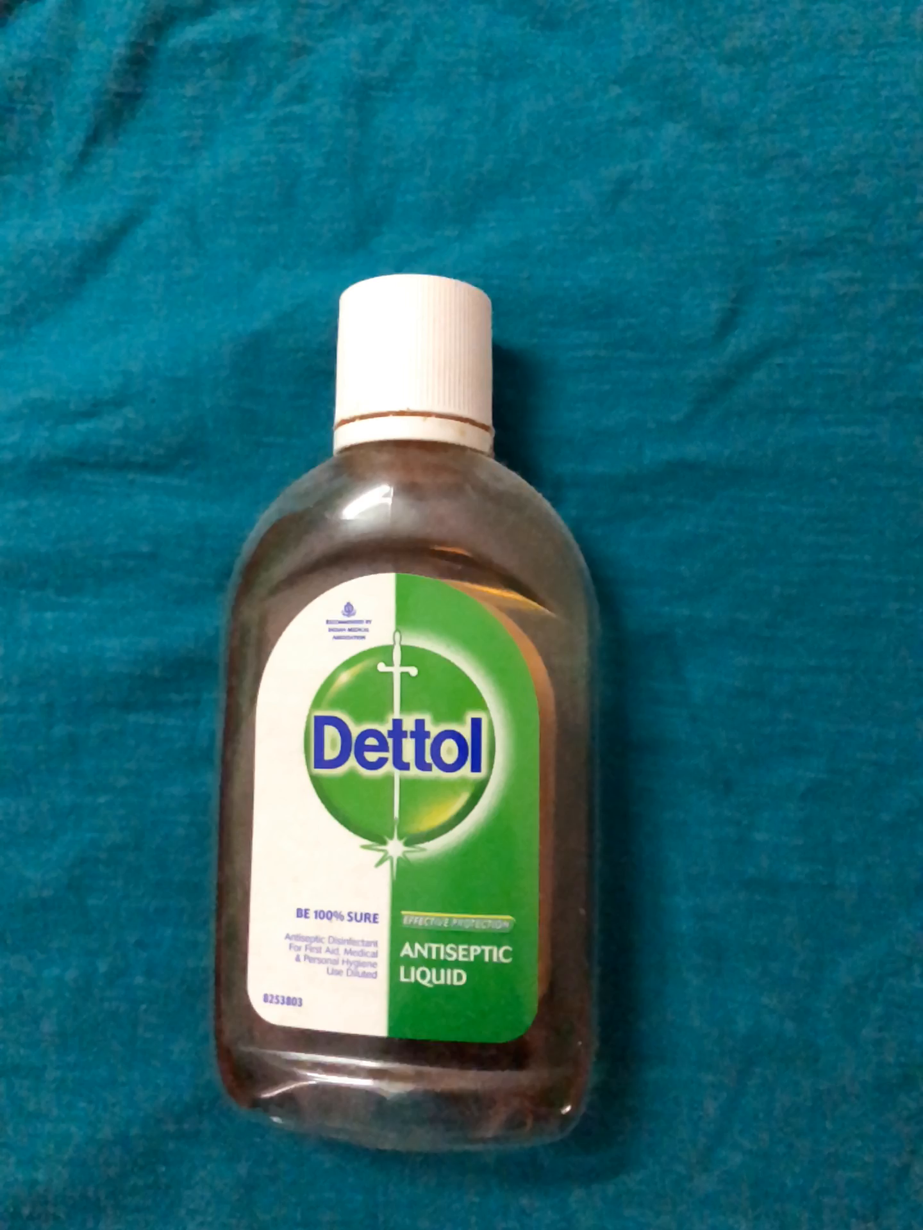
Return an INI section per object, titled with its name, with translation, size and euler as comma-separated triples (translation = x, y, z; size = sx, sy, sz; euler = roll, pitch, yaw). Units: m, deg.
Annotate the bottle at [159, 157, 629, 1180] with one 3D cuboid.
[bottle]
translation = -0.009, 0.006, 0.206
size = 0.080, 0.040, 0.180
euler = 1, 83, 6
